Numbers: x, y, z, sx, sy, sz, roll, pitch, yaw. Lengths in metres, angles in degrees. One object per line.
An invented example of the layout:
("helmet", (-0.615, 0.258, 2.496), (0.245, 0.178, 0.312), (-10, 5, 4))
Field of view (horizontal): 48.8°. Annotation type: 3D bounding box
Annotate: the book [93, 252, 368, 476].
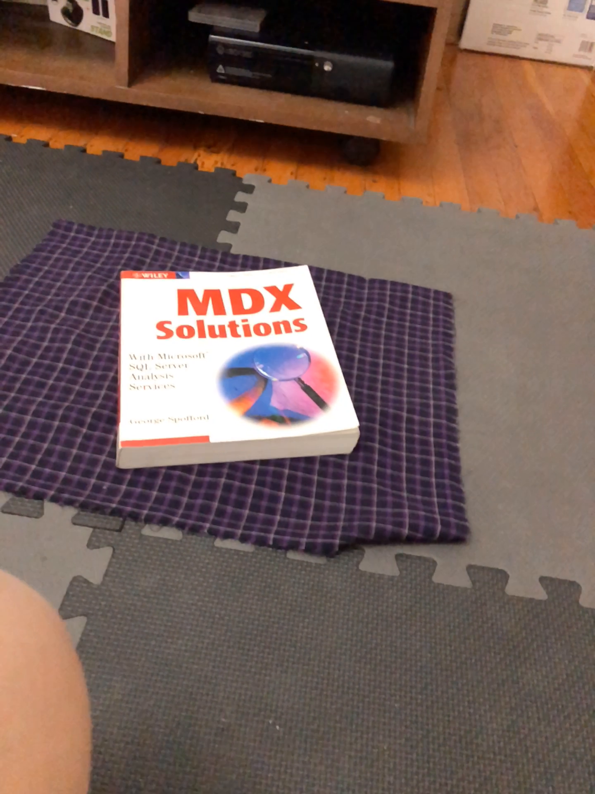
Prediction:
("book", (-0.076, -0.049, 0.634), (0.220, 0.050, 0.261), (-3, 44, -12))
